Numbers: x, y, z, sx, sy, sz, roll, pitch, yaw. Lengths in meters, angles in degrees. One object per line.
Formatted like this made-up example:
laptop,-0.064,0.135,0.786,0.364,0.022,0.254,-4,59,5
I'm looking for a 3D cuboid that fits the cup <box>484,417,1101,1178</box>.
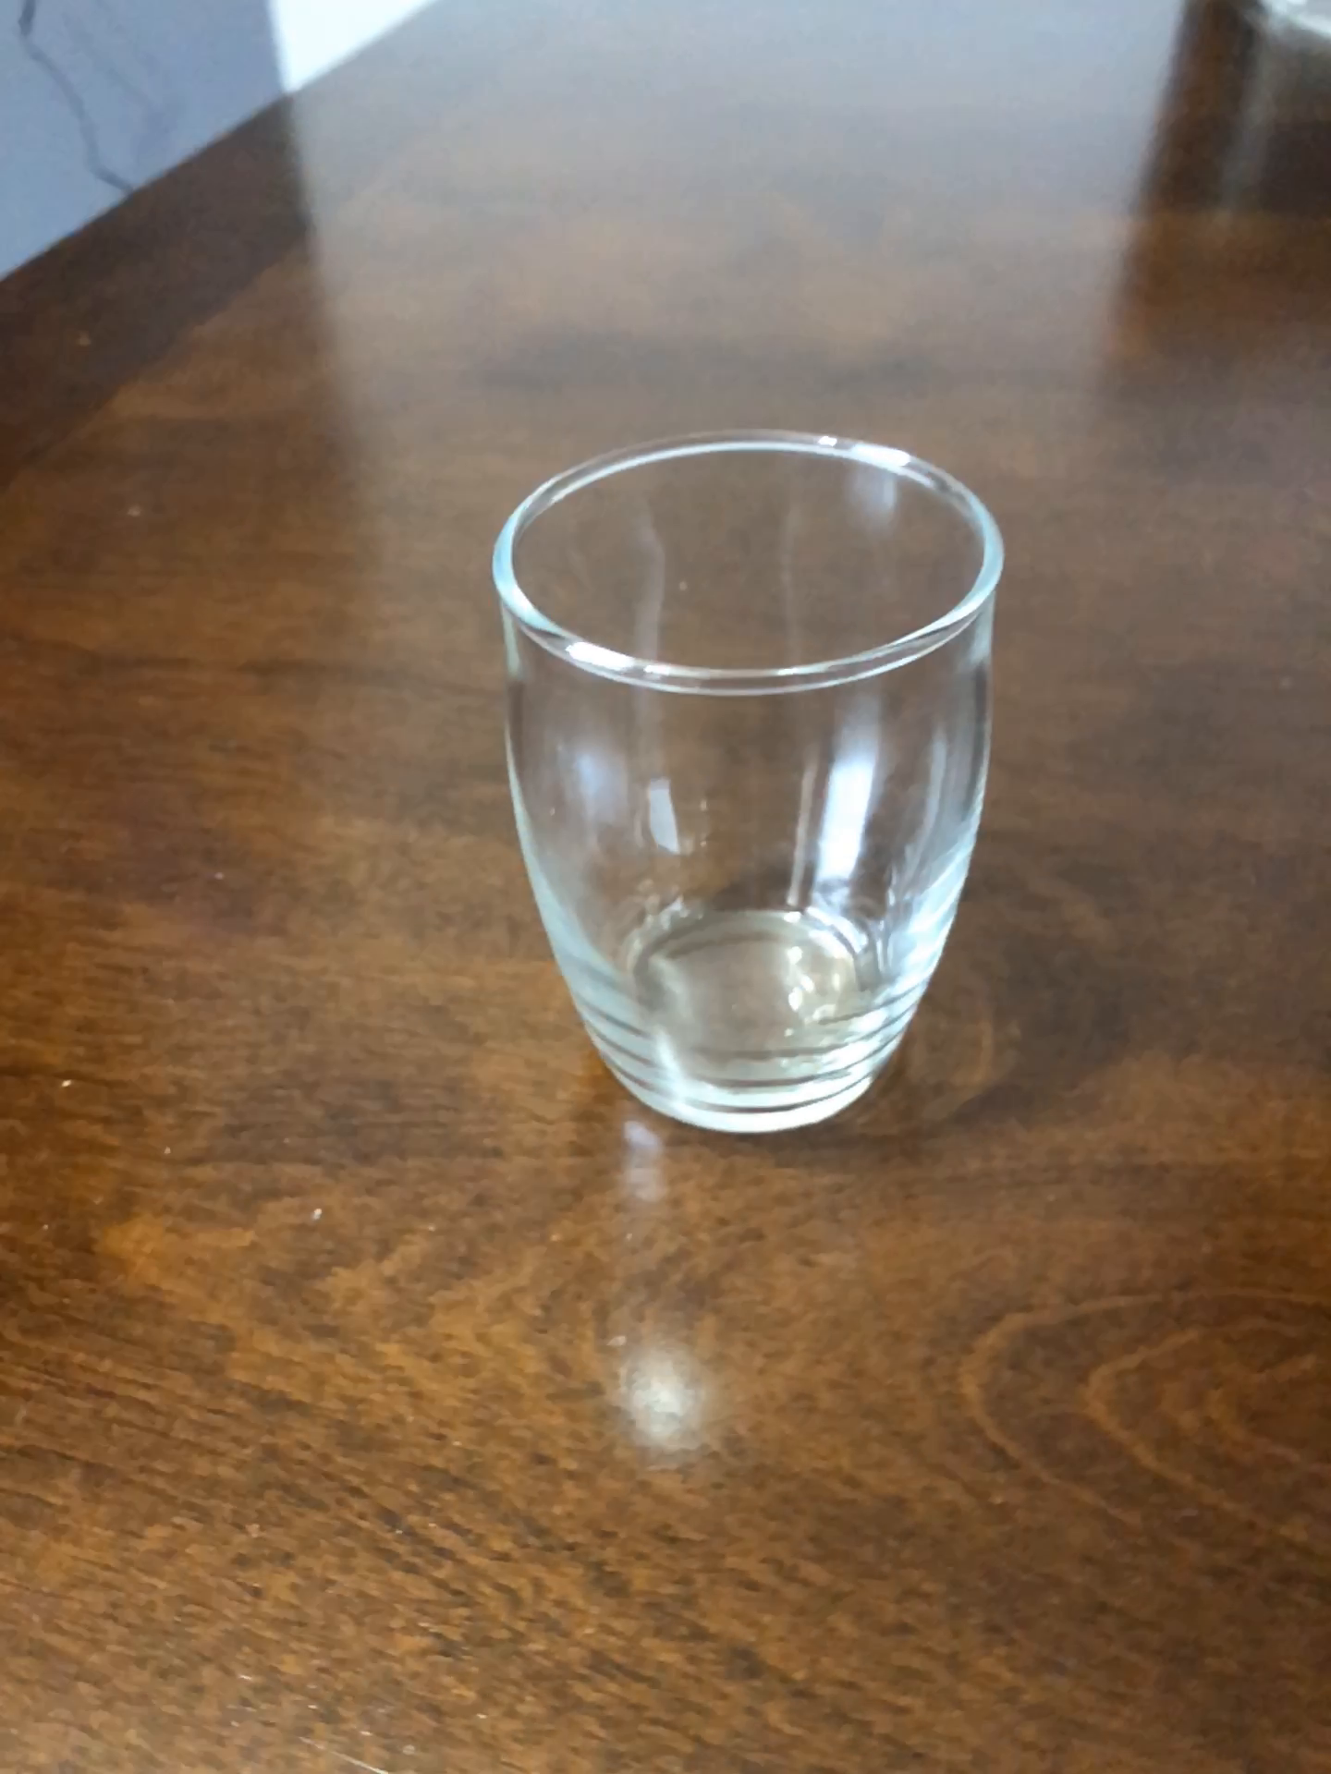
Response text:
cup,0.011,-0.012,0.192,0.060,0.070,0.060,-1,41,1
